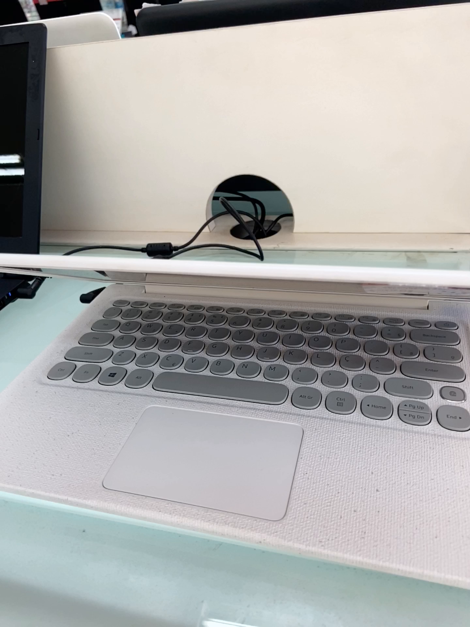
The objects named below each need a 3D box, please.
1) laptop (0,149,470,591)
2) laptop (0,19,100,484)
[{"bbox_3d":[-0.004,-0.005,0.286,0.312,0.108,0.207,3,34,18],"label":"laptop"},{"bbox_3d":[-0.418,-0.105,0.436,0.400,0.213,0.375,4,33,18],"label":"laptop"}]
